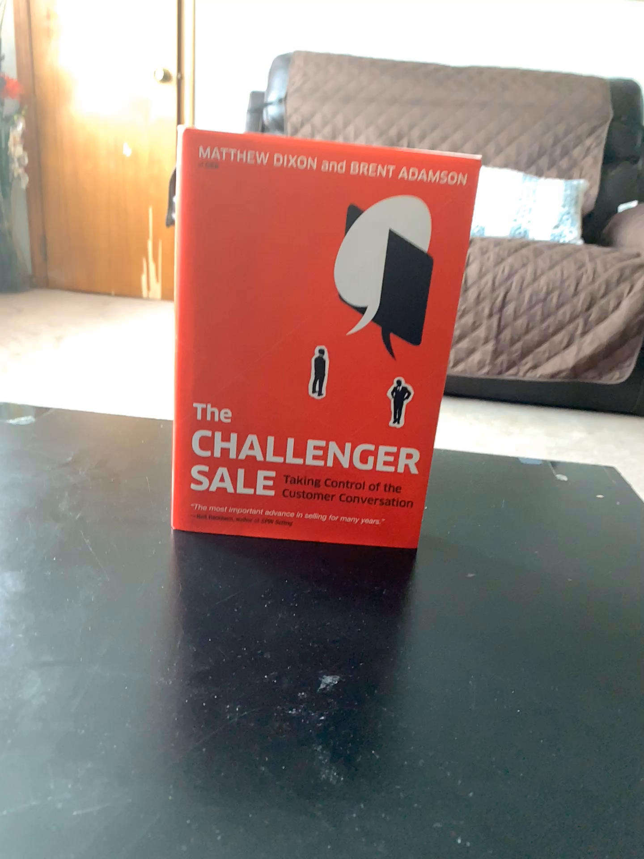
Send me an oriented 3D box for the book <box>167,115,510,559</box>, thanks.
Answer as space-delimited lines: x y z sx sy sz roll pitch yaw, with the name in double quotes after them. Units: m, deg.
-0.001 -0.044 0.390 0.170 0.238 0.040 5 21 -1 "book"
